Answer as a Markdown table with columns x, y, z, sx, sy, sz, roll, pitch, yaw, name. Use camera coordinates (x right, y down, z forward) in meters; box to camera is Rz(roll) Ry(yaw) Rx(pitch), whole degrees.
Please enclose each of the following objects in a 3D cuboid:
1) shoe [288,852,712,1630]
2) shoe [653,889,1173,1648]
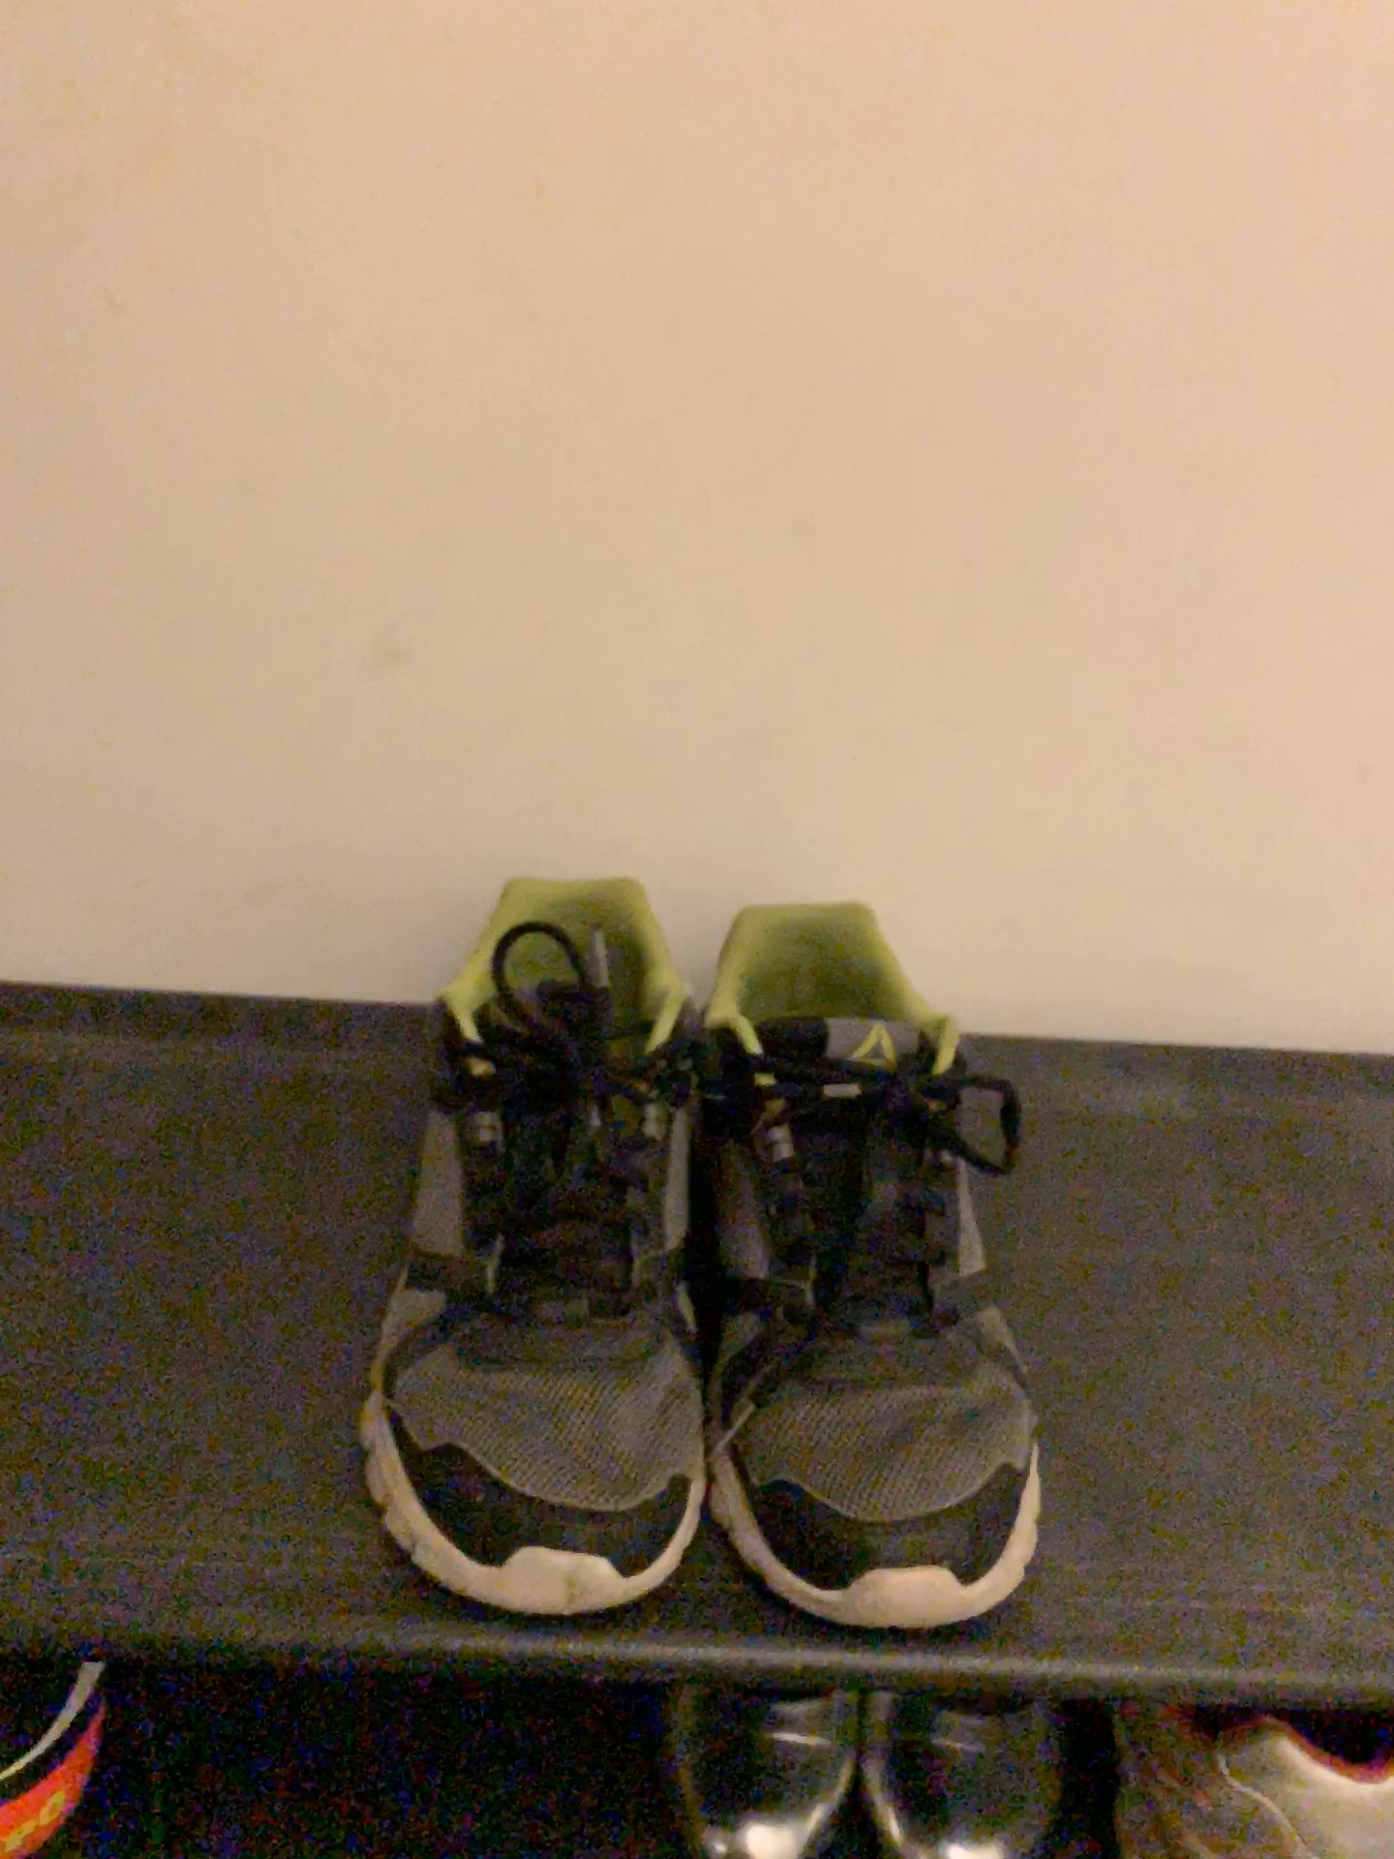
| x | y | z | sx | sy | sz | roll | pitch | yaw | name |
| --- | --- | --- | --- | --- | --- | --- | --- | --- | --- |
| -0.053 | 0.081 | 0.477 | 0.100 | 0.099 | 0.252 | 3 | 31 | -4 | shoe |
| 0.047 | 0.085 | 0.466 | 0.110 | 0.069 | 0.262 | 2 | 31 | -5 | shoe |
